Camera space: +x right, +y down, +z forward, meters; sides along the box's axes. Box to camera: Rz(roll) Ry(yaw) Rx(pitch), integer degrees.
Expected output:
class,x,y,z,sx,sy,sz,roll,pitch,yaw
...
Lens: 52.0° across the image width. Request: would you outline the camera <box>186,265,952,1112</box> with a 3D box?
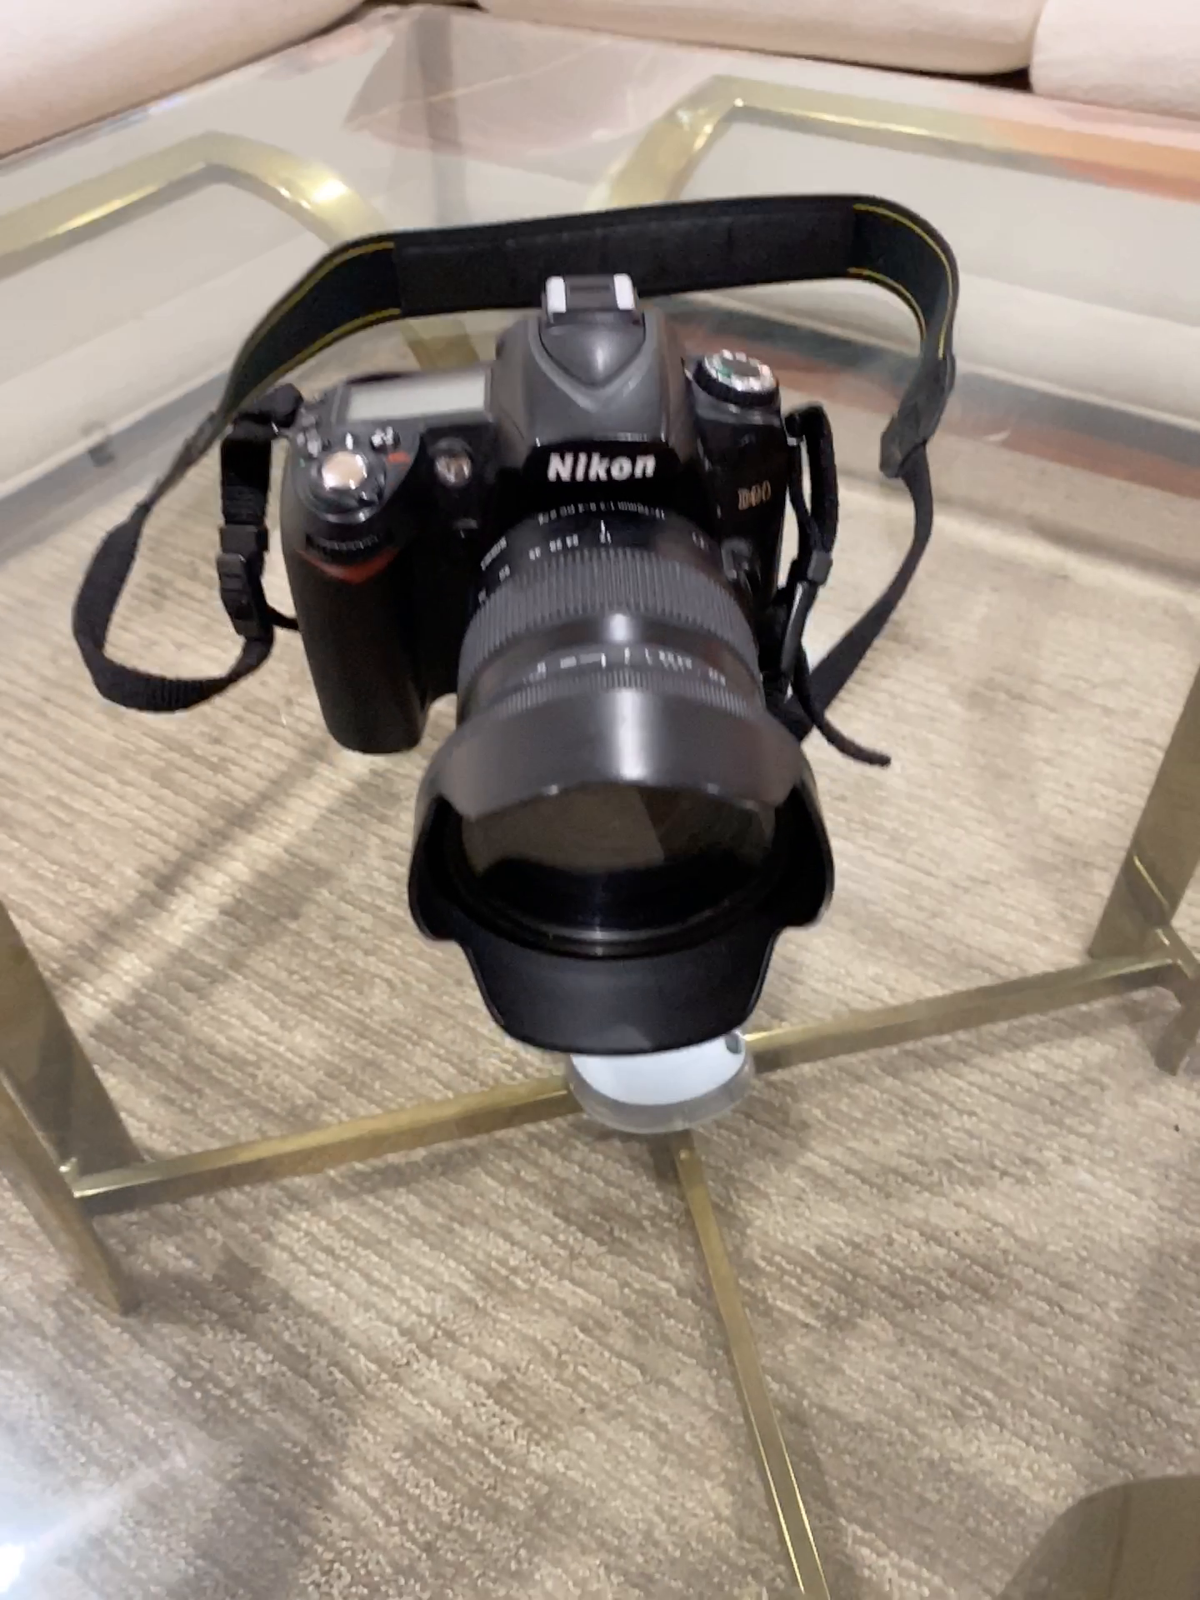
class,x,y,z,sx,sy,sz,roll,pitch,yaw
camera,-0.010,-0.037,0.315,0.130,0.119,0.181,-4,45,-2
